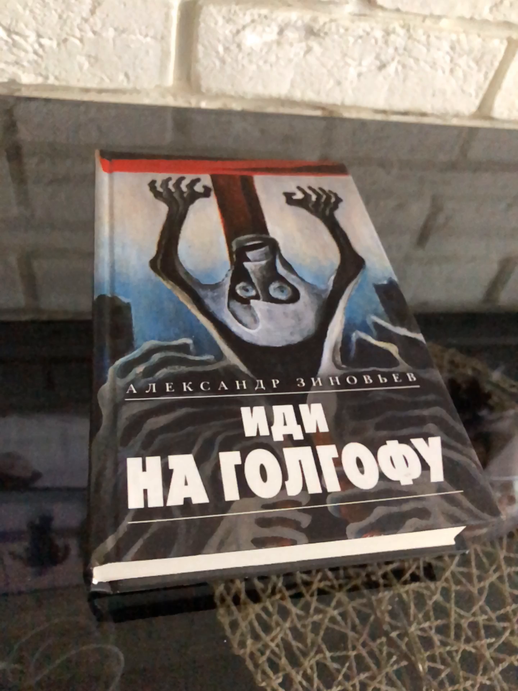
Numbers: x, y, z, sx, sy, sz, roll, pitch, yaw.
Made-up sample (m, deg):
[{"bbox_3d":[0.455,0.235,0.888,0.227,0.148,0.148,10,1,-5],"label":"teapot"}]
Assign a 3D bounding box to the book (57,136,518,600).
[{"bbox_3d":[0.001,-0.014,0.234,0.140,0.030,0.201,0,49,-12],"label":"book"}]
